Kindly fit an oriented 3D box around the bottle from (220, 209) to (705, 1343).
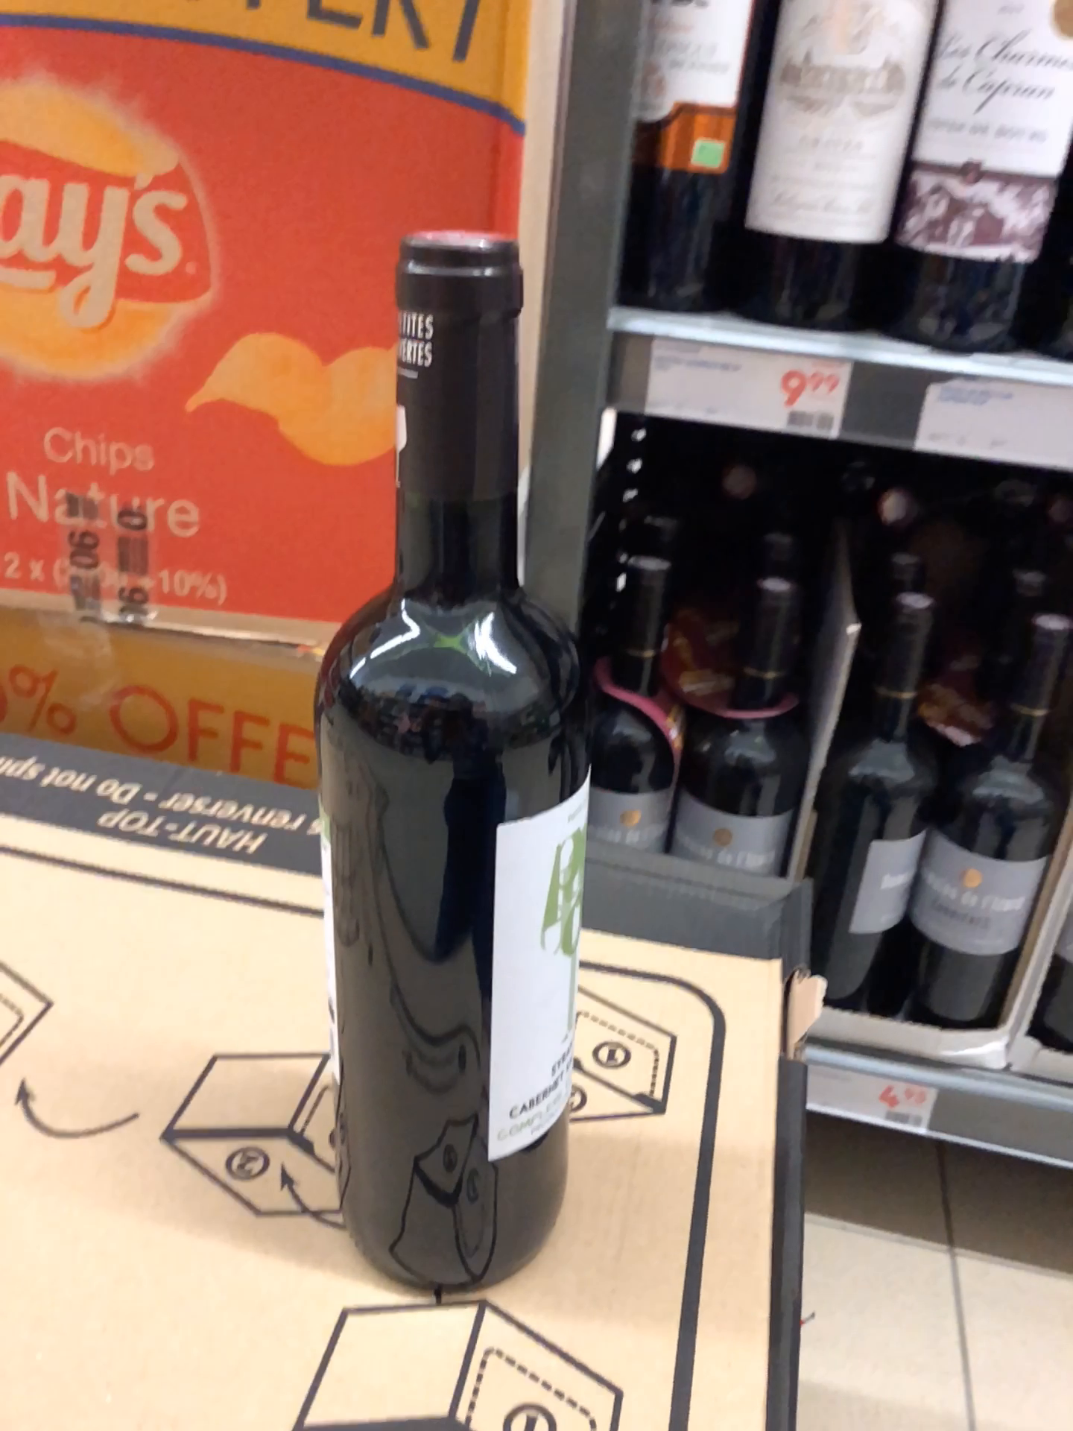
[{"bbox_3d":[-0.018,0.025,0.333,0.080,0.298,0.091,11,27,16],"label":"bottle"}]
